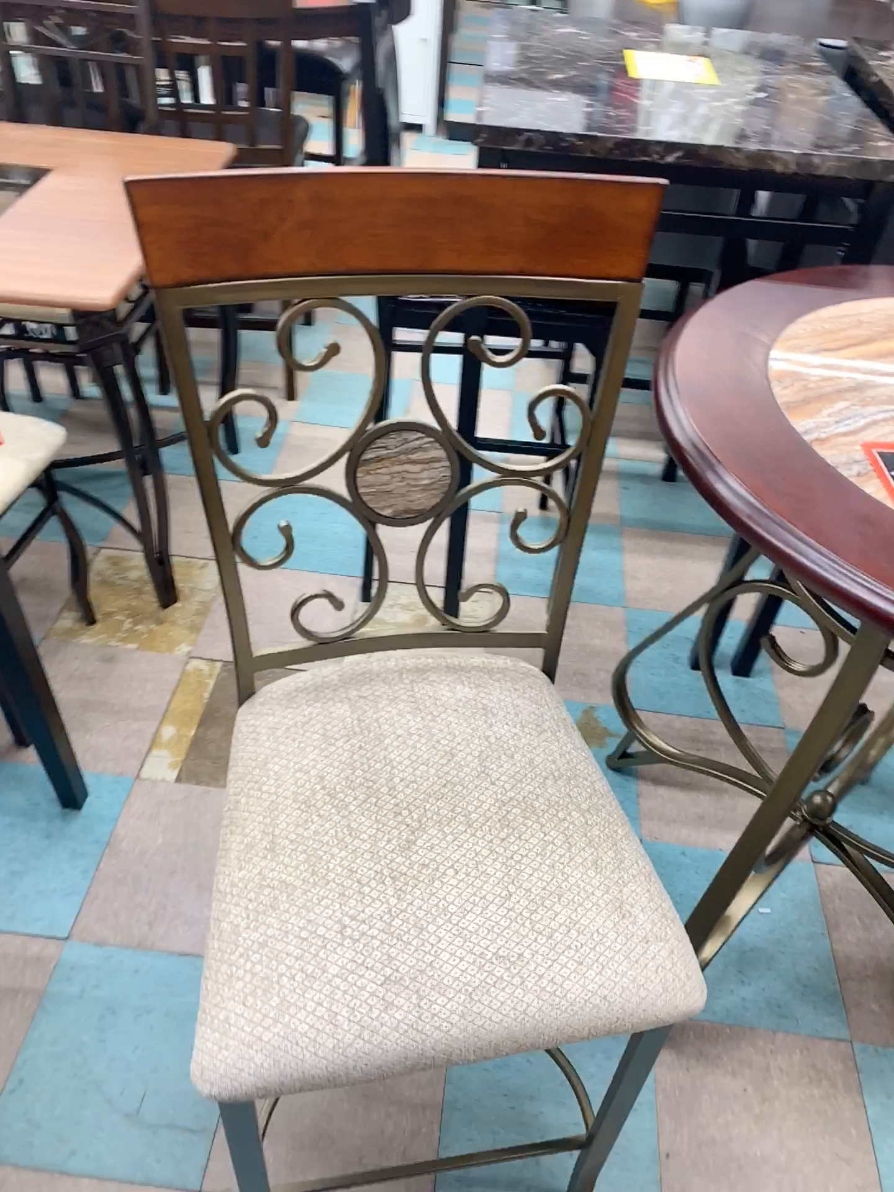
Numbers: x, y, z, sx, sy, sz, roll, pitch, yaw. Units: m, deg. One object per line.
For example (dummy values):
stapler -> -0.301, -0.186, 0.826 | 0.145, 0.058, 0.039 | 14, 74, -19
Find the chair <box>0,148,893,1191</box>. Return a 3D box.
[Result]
chair -> -0.027, 0.211, 0.928 | 0.510, 1.074, 0.563 | -3, 43, -9
